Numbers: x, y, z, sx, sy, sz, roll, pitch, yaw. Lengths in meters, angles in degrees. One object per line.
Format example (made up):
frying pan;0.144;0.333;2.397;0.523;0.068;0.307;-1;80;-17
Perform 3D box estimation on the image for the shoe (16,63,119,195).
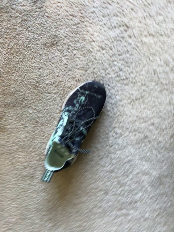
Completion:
shoe;-0.046;0.031;0.494;0.131;0.101;0.286;28;97;3
